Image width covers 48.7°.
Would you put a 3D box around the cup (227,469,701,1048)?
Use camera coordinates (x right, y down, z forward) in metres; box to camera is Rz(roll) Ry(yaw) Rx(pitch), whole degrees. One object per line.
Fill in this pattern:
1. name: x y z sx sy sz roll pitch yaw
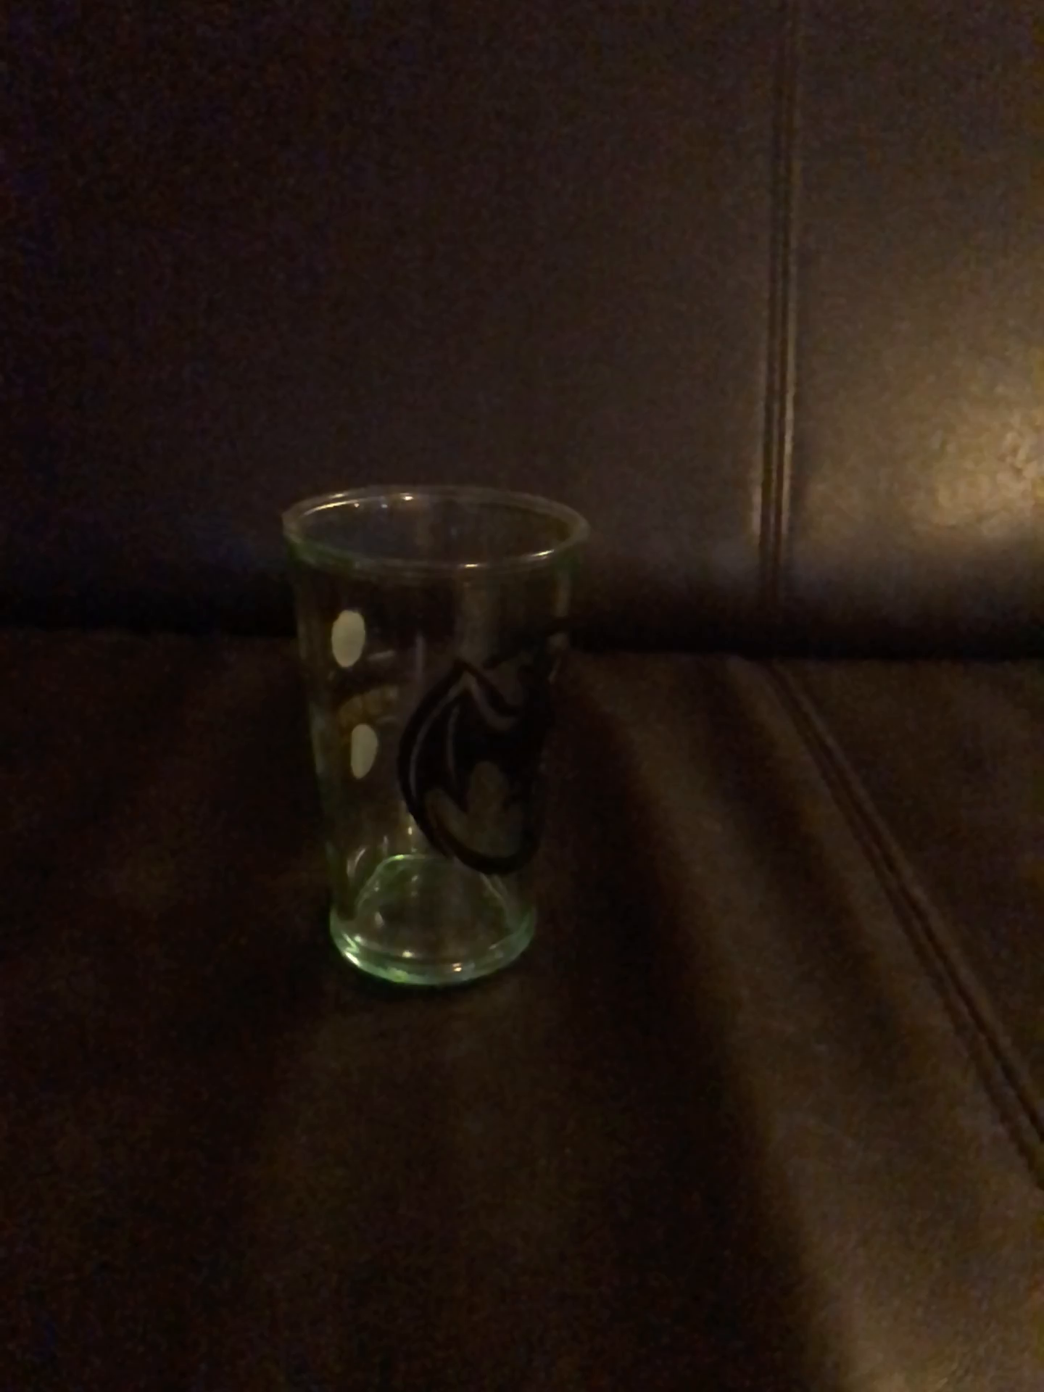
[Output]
1. cup: -0.016 0.009 0.318 0.087 0.117 0.085 2 23 -1
